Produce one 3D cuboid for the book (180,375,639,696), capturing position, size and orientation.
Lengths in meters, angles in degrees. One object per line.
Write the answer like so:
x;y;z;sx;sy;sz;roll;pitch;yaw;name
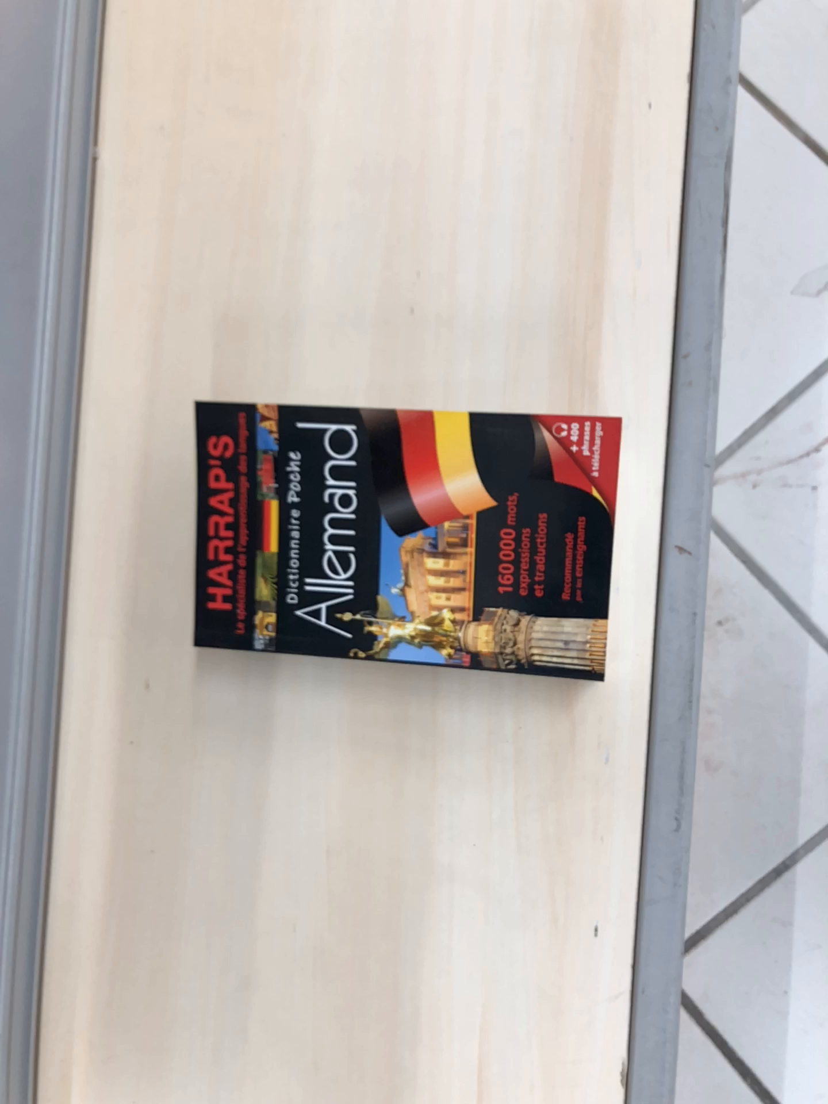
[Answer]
0.001;-0.008;0.399;0.180;0.060;0.122;2;86;10;book
